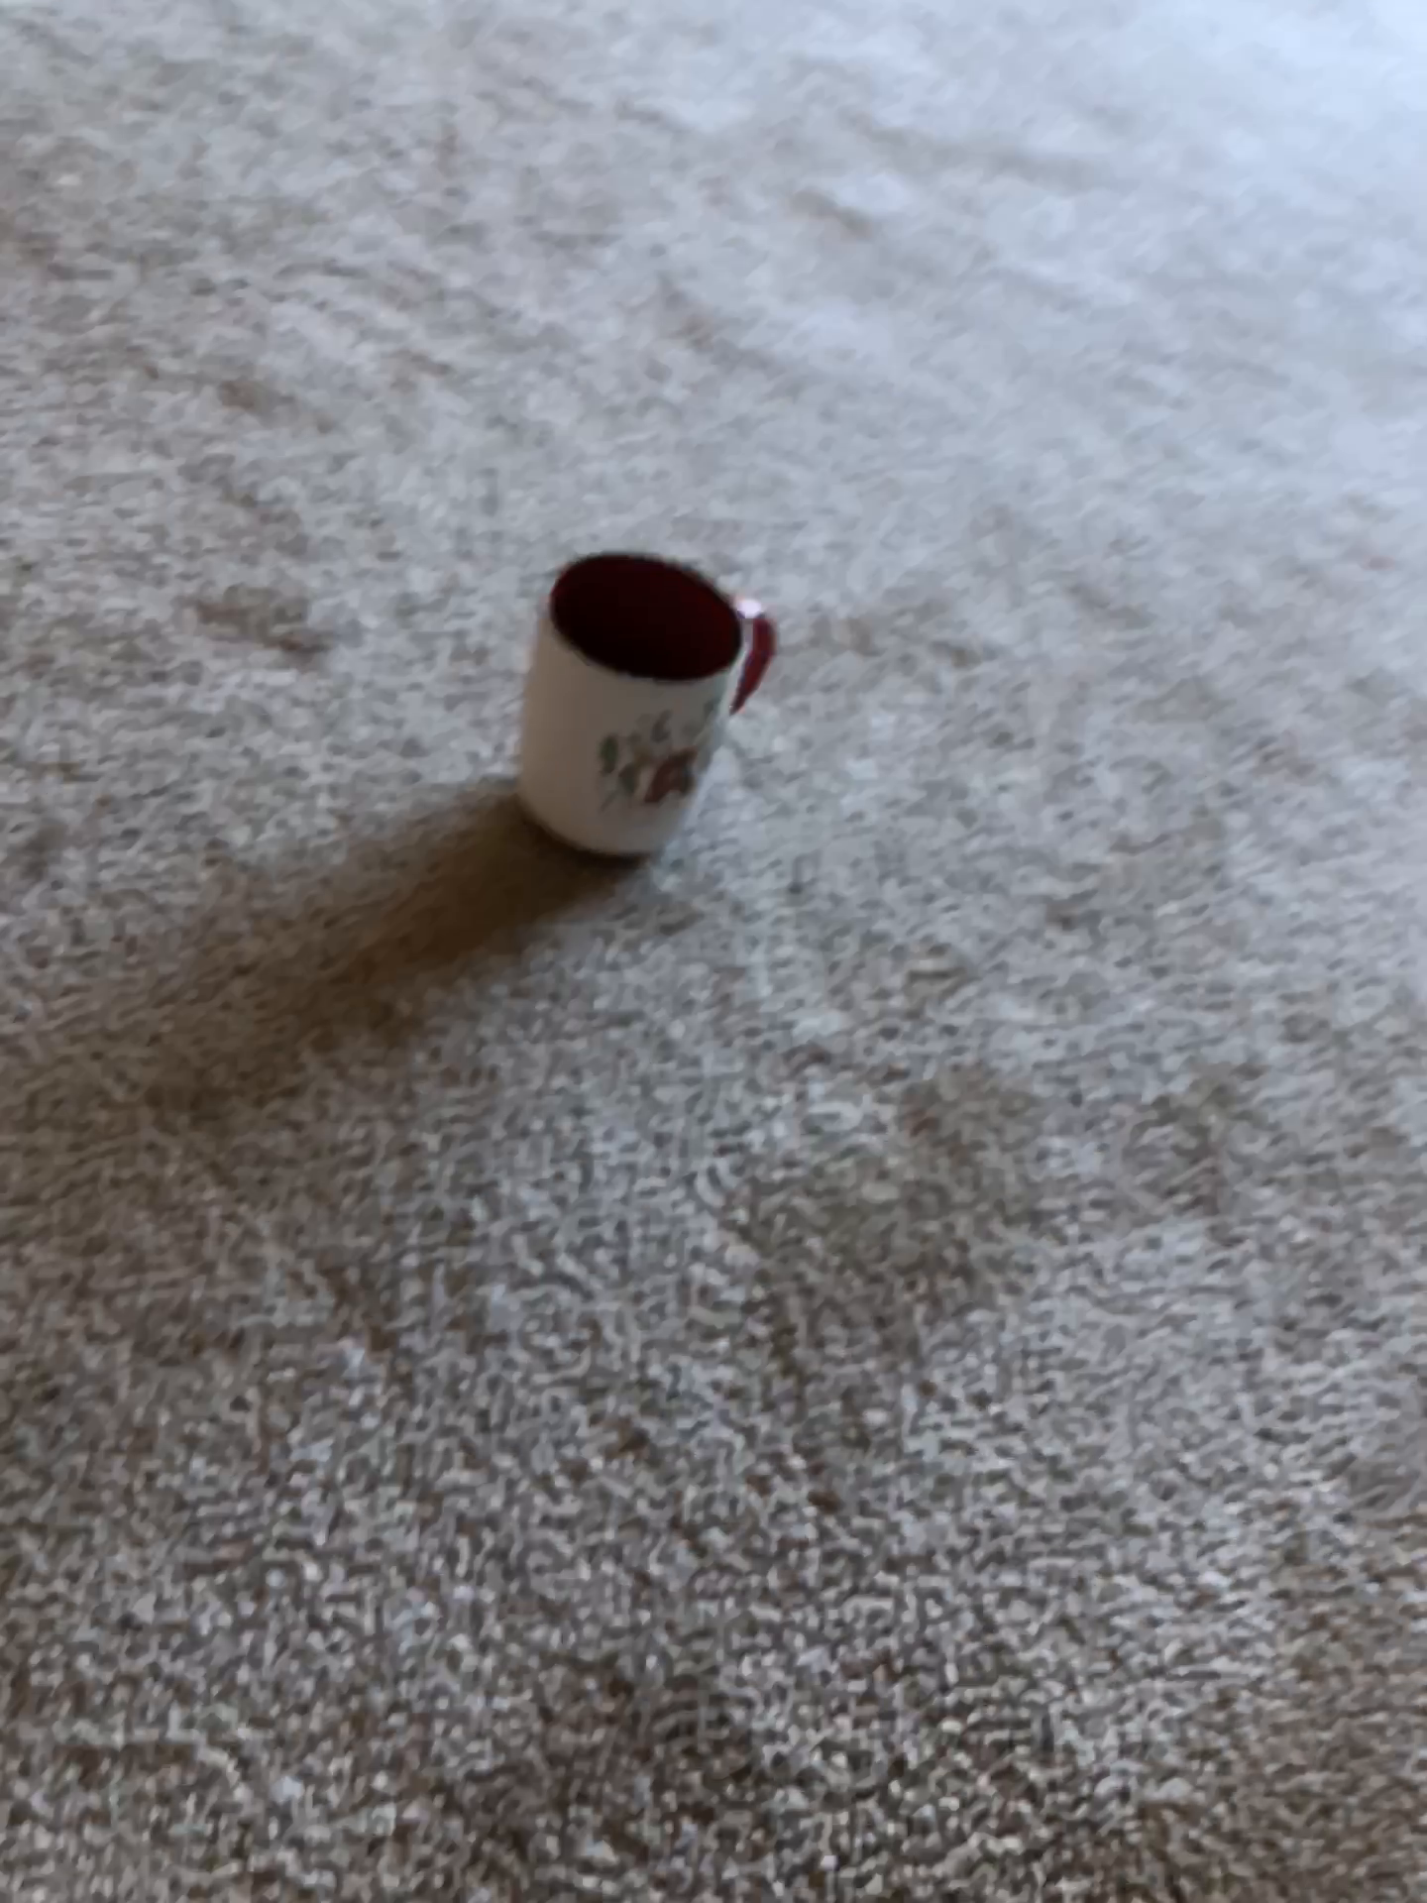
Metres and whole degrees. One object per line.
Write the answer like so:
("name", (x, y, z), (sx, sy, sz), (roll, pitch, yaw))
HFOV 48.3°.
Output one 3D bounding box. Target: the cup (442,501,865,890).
("cup", (-0.028, -0.114, 0.691), (0.140, 0.090, 0.100), (-27, 60, -33))
